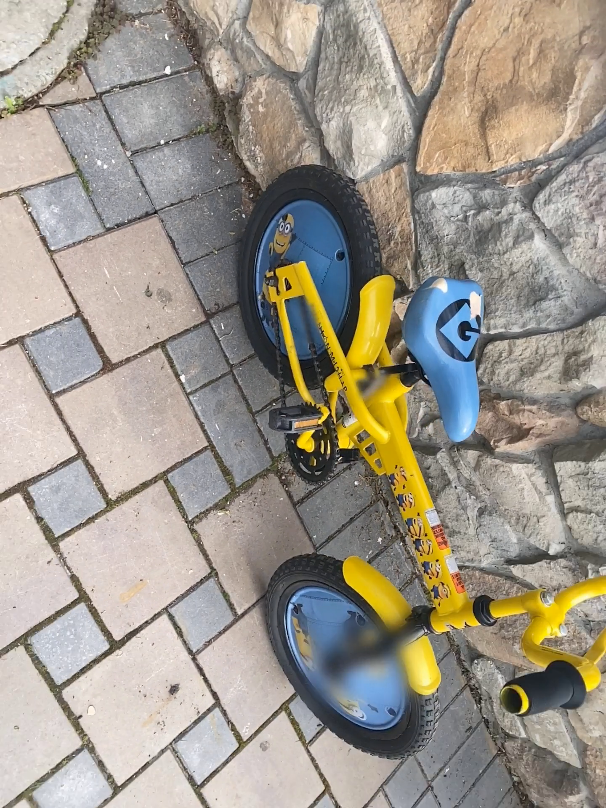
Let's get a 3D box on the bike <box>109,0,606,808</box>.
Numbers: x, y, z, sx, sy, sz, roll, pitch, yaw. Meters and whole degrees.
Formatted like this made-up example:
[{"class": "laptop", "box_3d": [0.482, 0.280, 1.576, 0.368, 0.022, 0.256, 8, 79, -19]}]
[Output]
[{"class": "bike", "box_3d": [0.213, 0.116, 0.986, 0.621, 0.736, 1.085, -11, 91, -35]}]
